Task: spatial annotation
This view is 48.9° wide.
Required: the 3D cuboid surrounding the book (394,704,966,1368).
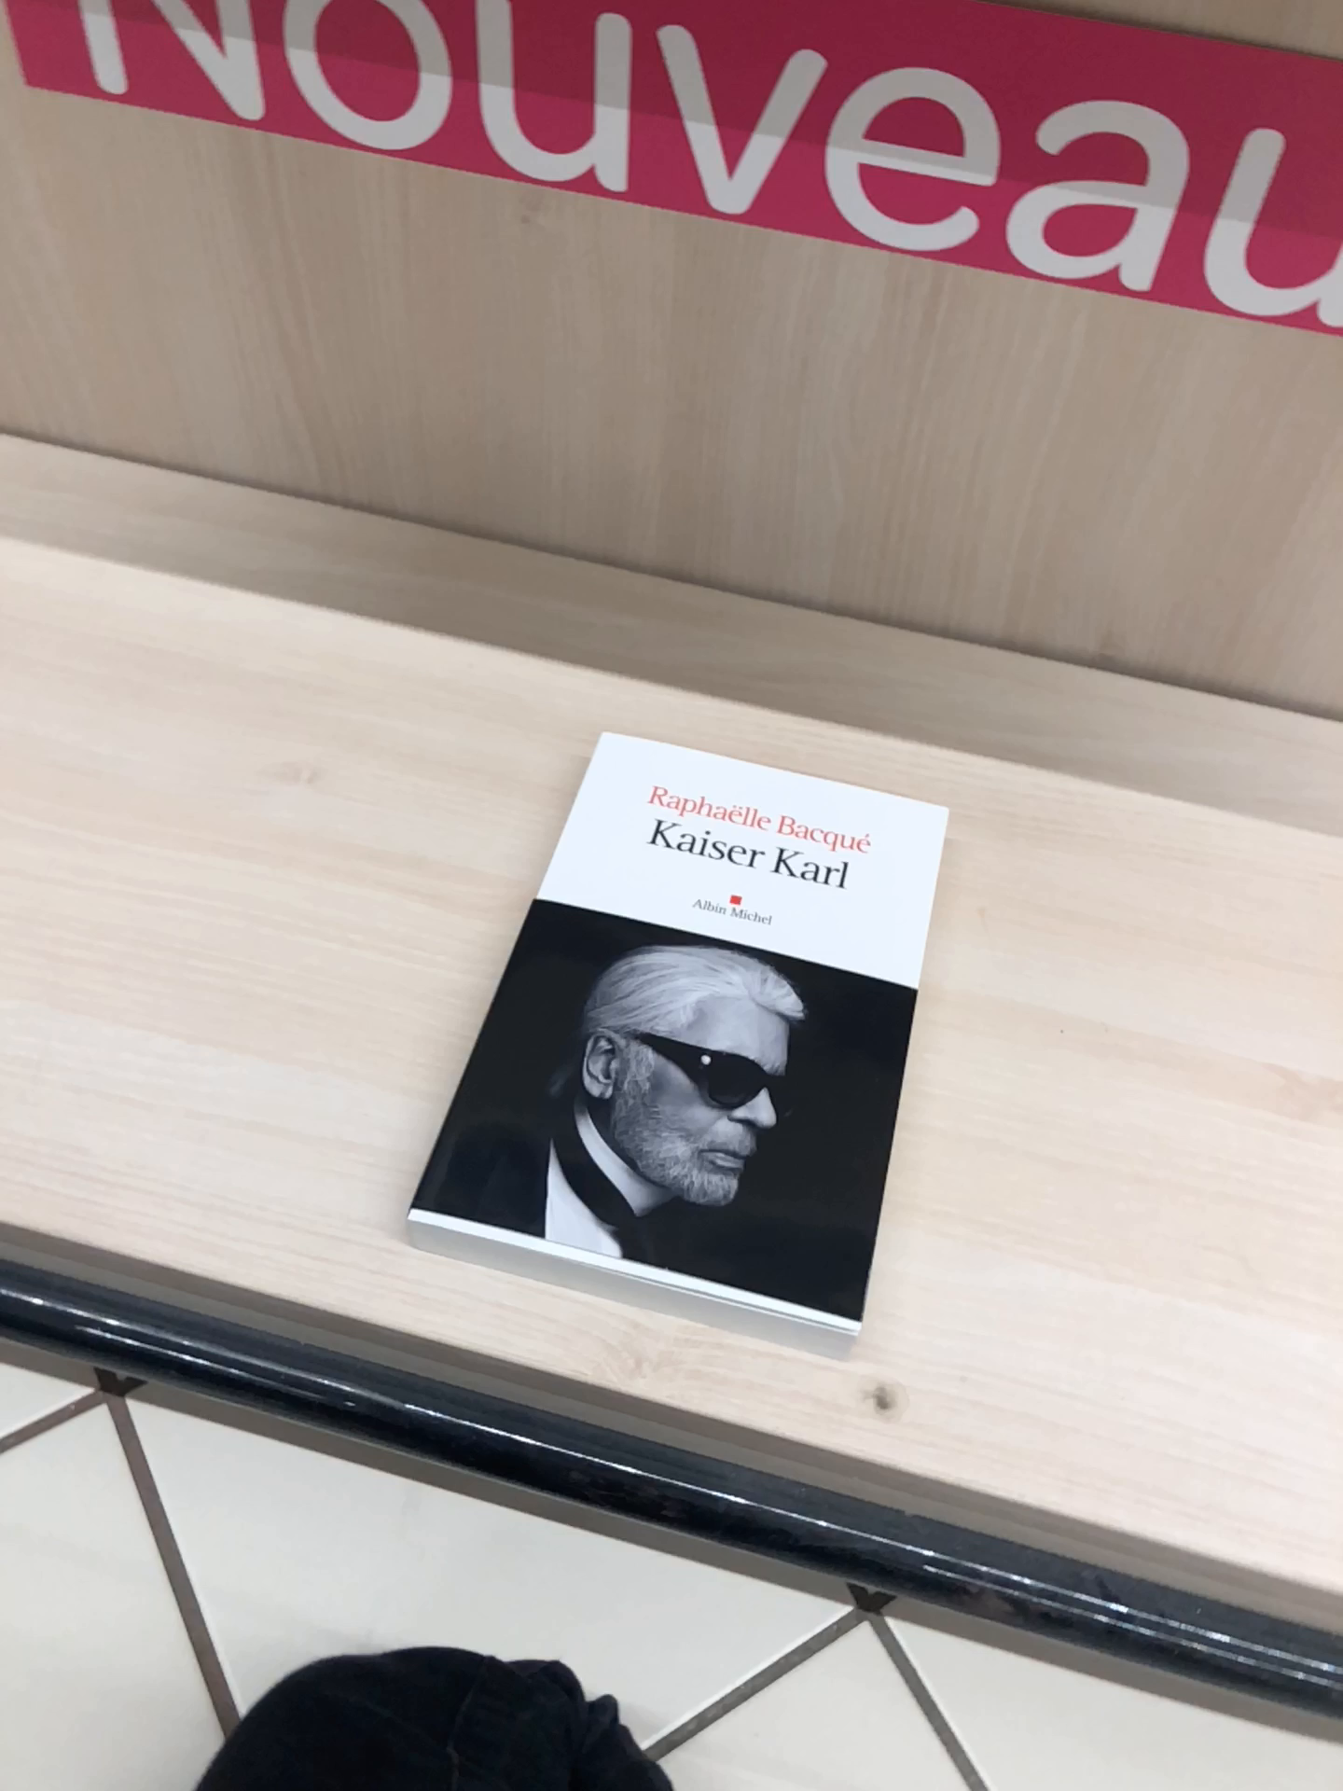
[{"bbox_3d":[0.014,0.035,0.515,0.150,0.030,0.221,14,51,4],"label":"book"}]
